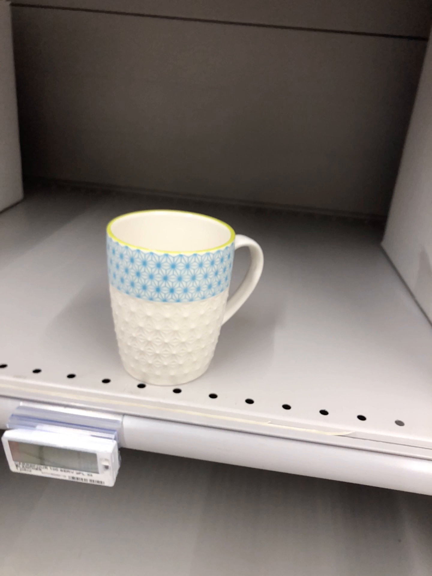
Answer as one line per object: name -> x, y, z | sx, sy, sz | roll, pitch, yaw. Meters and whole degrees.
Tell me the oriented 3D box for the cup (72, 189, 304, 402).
cup -> -0.020, -0.005, 0.338 | 0.119, 0.092, 0.098 | -18, 34, -40
